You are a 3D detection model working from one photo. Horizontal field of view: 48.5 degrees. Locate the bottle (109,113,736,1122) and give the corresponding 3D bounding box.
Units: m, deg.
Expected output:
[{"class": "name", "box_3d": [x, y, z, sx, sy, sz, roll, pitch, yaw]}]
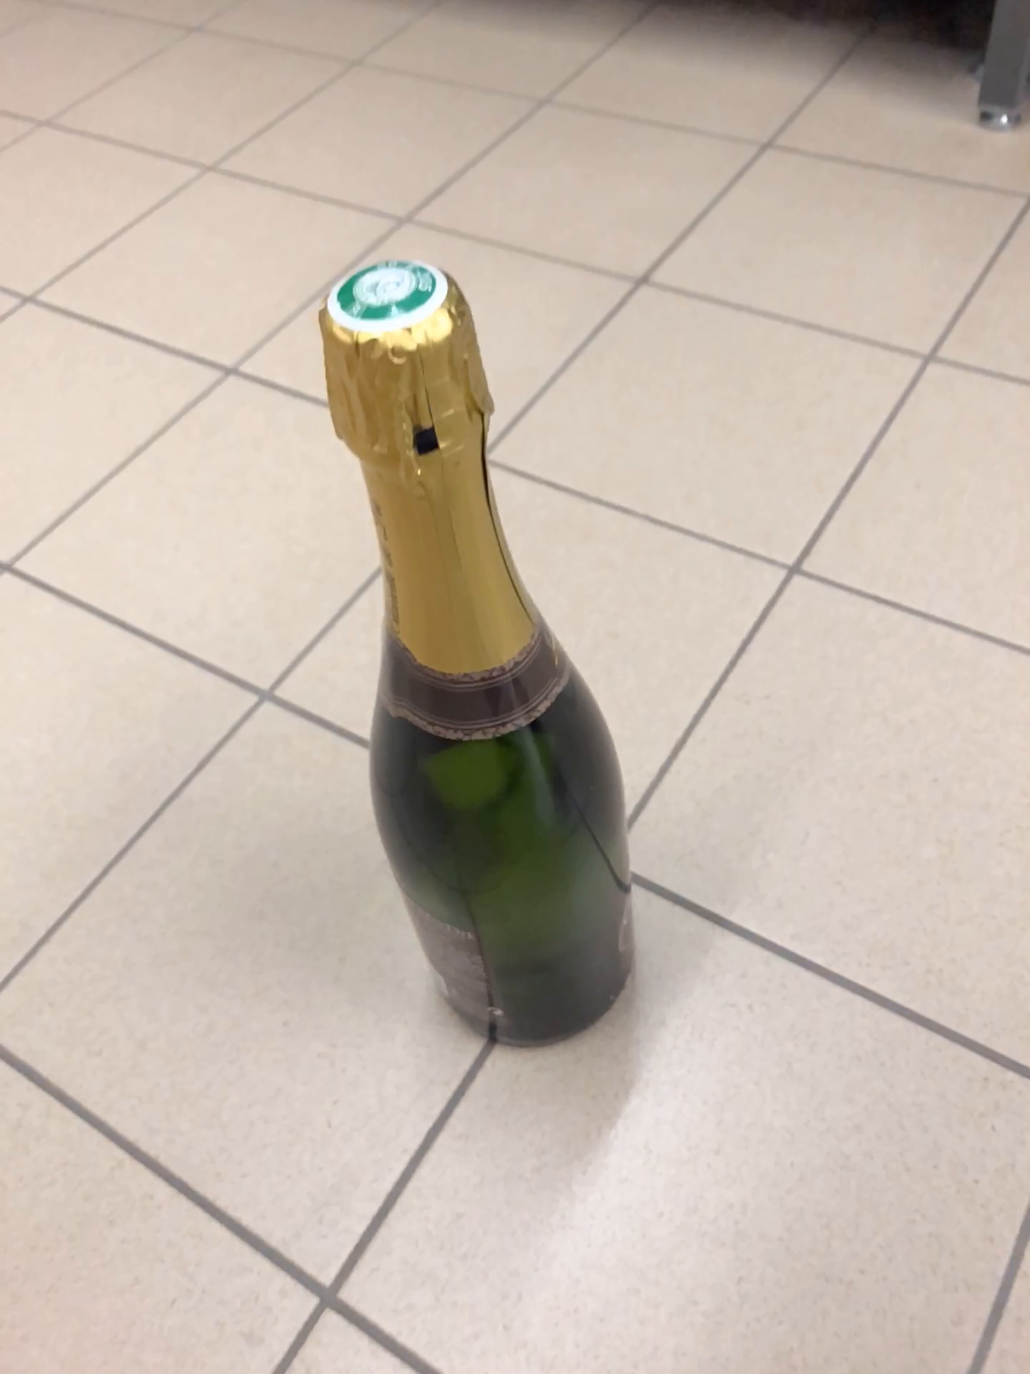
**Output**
[{"class": "bottle", "box_3d": [-0.008, 0.015, 0.356, 0.100, 0.318, 0.100, -4, 51, 5]}]
